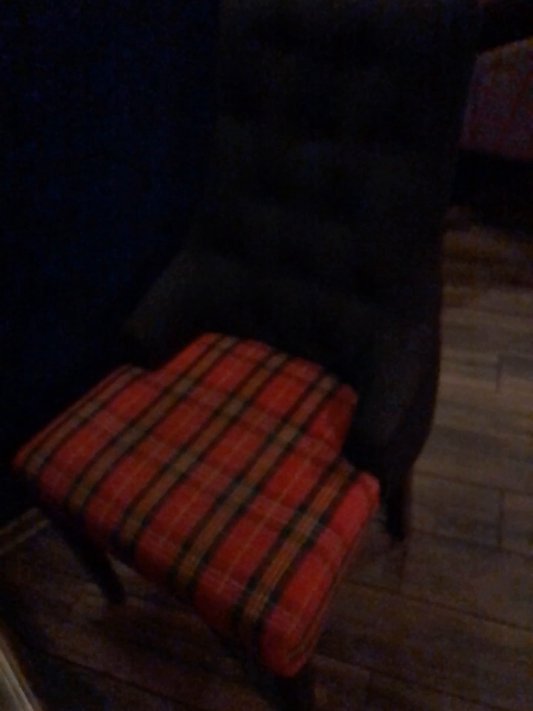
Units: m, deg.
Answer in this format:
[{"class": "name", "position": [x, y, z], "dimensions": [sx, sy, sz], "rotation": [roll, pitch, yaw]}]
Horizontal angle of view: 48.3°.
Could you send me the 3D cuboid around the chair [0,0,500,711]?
[{"class": "chair", "position": [-0.069, 0.042, 0.940], "dimensions": [0.521, 1.003, 0.613], "rotation": [20, 48, 29]}]
